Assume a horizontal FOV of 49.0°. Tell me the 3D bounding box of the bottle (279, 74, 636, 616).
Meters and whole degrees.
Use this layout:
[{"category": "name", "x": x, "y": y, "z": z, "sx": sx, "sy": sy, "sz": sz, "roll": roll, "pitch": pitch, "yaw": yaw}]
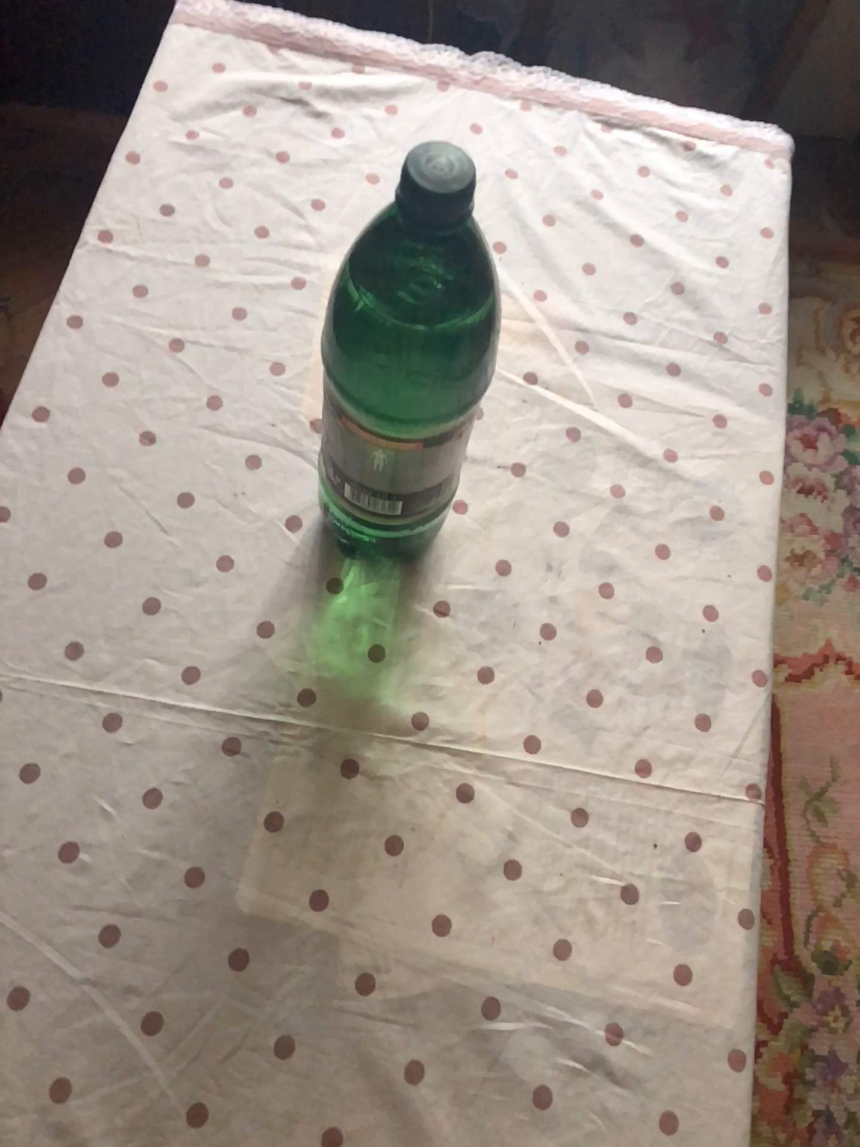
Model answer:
[{"category": "bottle", "x": -0.005, "y": -0.087, "z": 0.477, "sx": 0.100, "sy": 0.279, "sz": 0.100, "roll": 2, "pitch": 68, "yaw": -5}]
